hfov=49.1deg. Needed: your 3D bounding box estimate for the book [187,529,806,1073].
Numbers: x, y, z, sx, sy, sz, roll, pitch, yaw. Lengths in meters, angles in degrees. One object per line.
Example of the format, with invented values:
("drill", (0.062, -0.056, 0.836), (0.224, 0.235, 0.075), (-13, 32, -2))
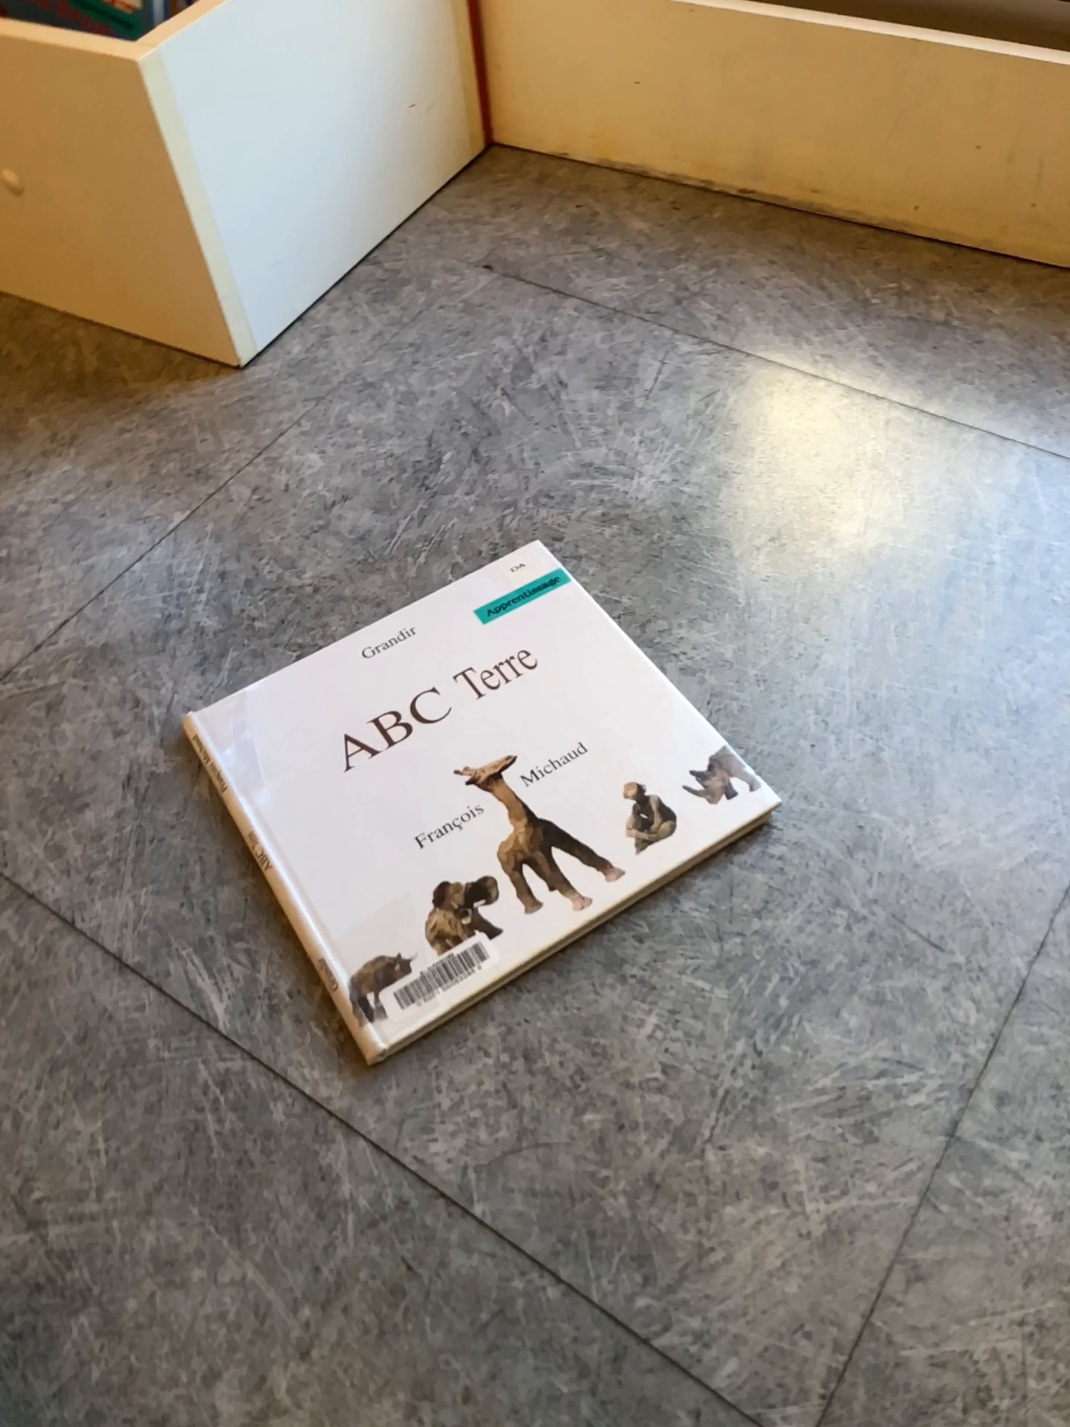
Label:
("book", (-0.023, 0.022, 0.518), (0.200, 0.020, 0.194), (-29, 55, -16))
